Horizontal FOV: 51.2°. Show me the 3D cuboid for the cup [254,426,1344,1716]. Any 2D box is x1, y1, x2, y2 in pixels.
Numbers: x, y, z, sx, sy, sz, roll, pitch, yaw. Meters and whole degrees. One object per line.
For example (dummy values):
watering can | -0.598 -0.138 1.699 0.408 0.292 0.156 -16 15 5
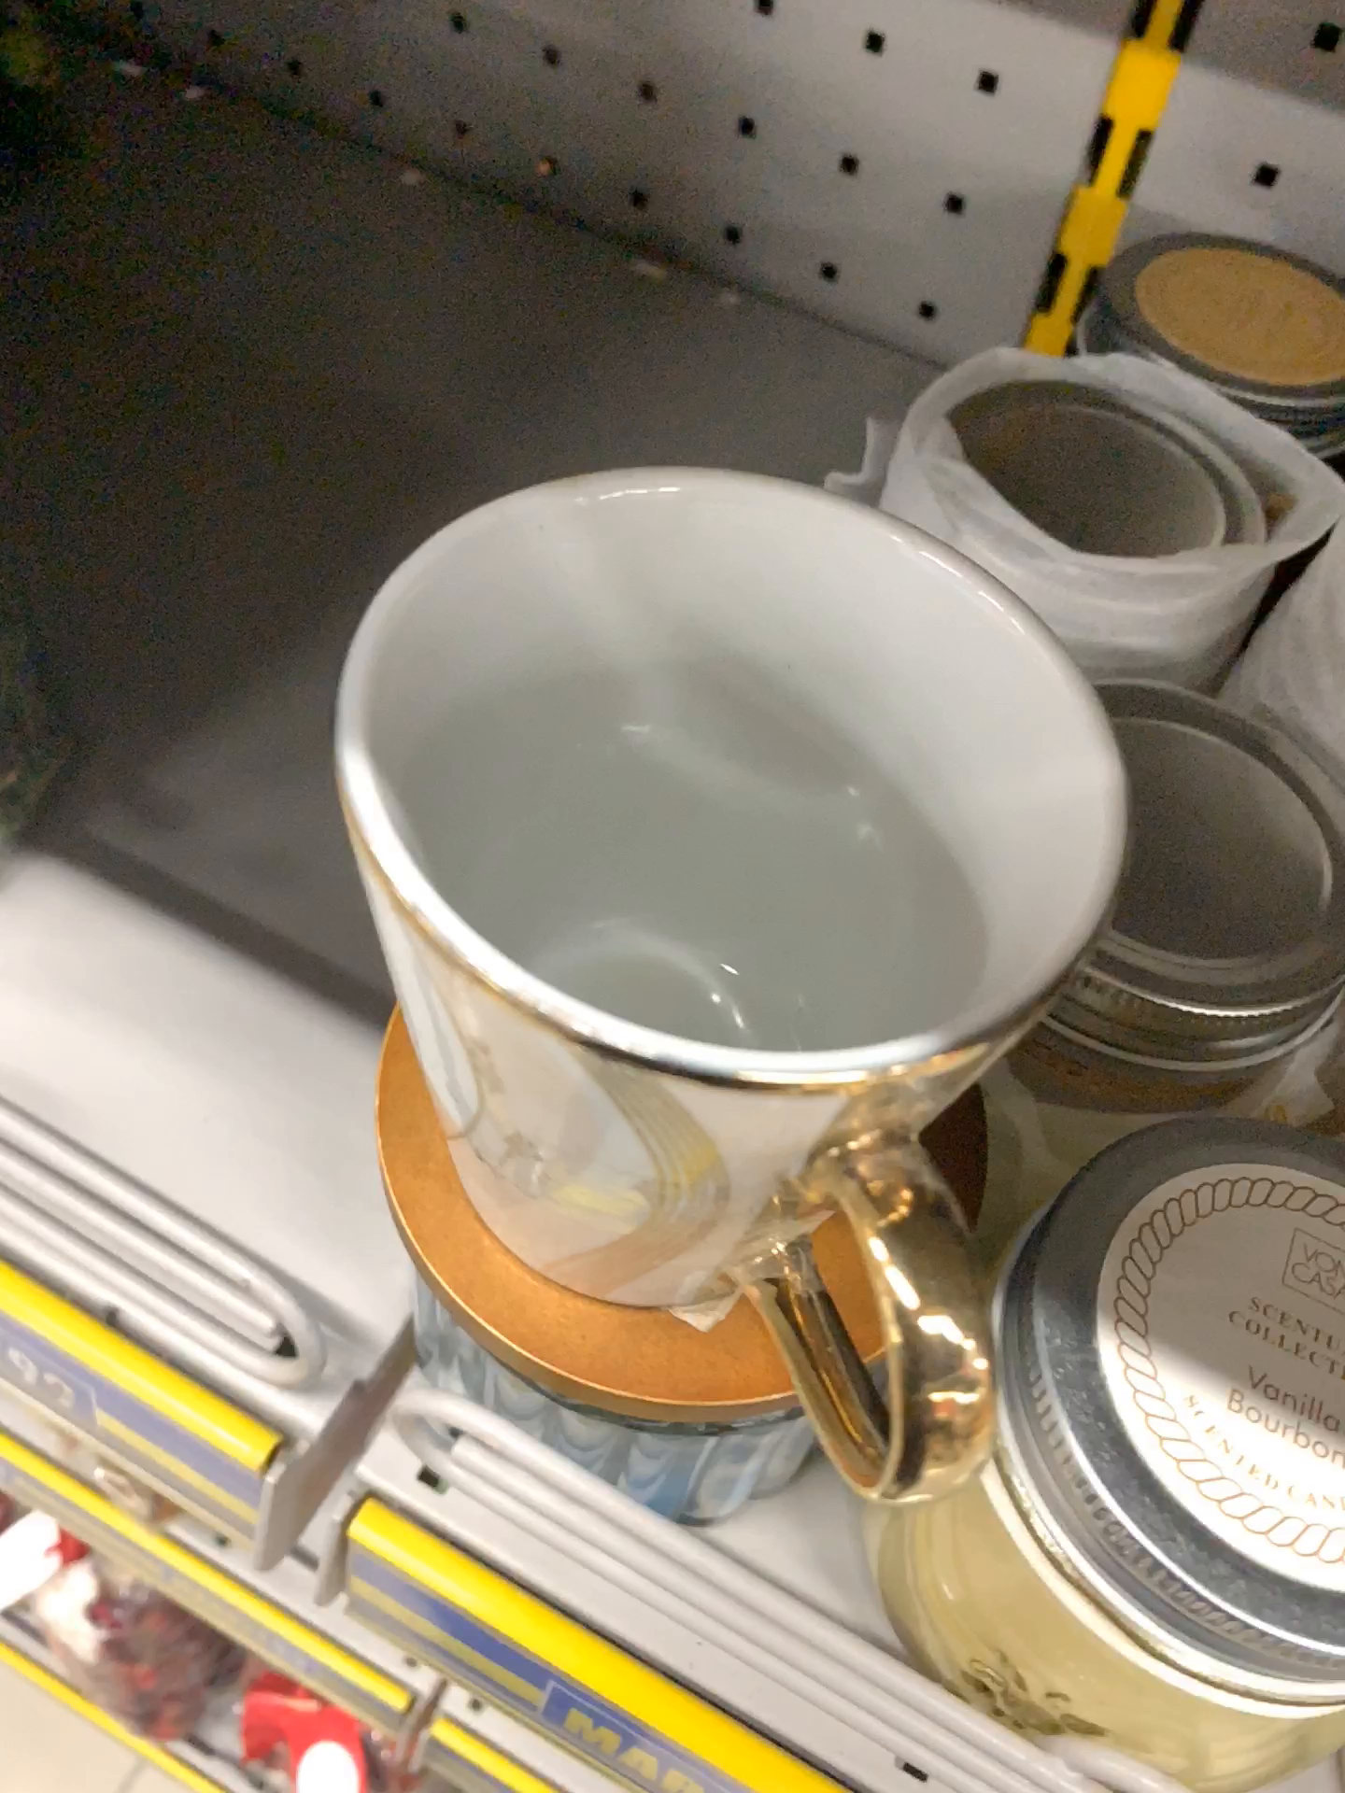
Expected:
cup | 0.005 0.017 0.143 0.070 0.080 0.090 -11 56 -15
